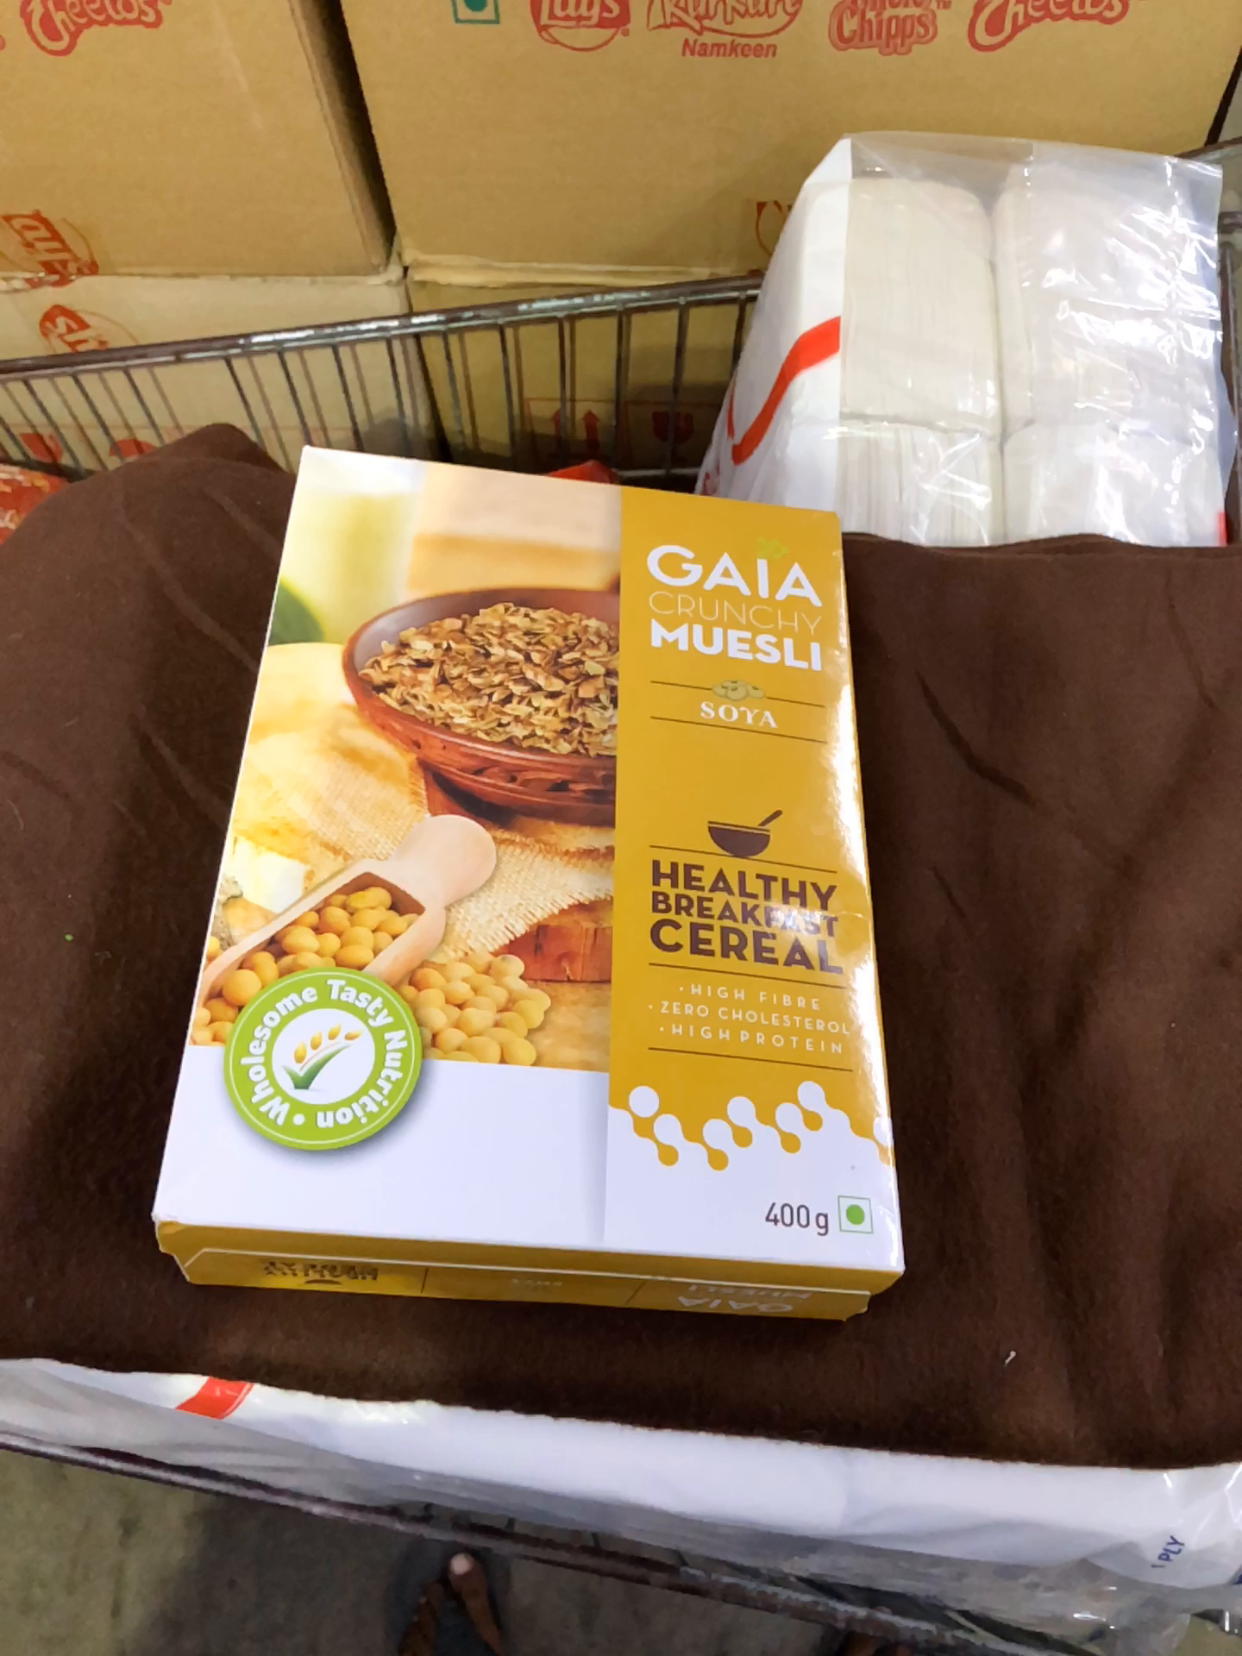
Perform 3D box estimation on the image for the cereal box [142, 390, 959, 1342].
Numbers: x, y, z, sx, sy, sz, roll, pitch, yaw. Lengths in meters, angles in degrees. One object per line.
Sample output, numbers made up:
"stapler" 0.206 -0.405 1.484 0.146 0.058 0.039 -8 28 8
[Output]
"cereal box" -0.013 0.002 0.369 0.170 0.060 0.241 5 61 -7
